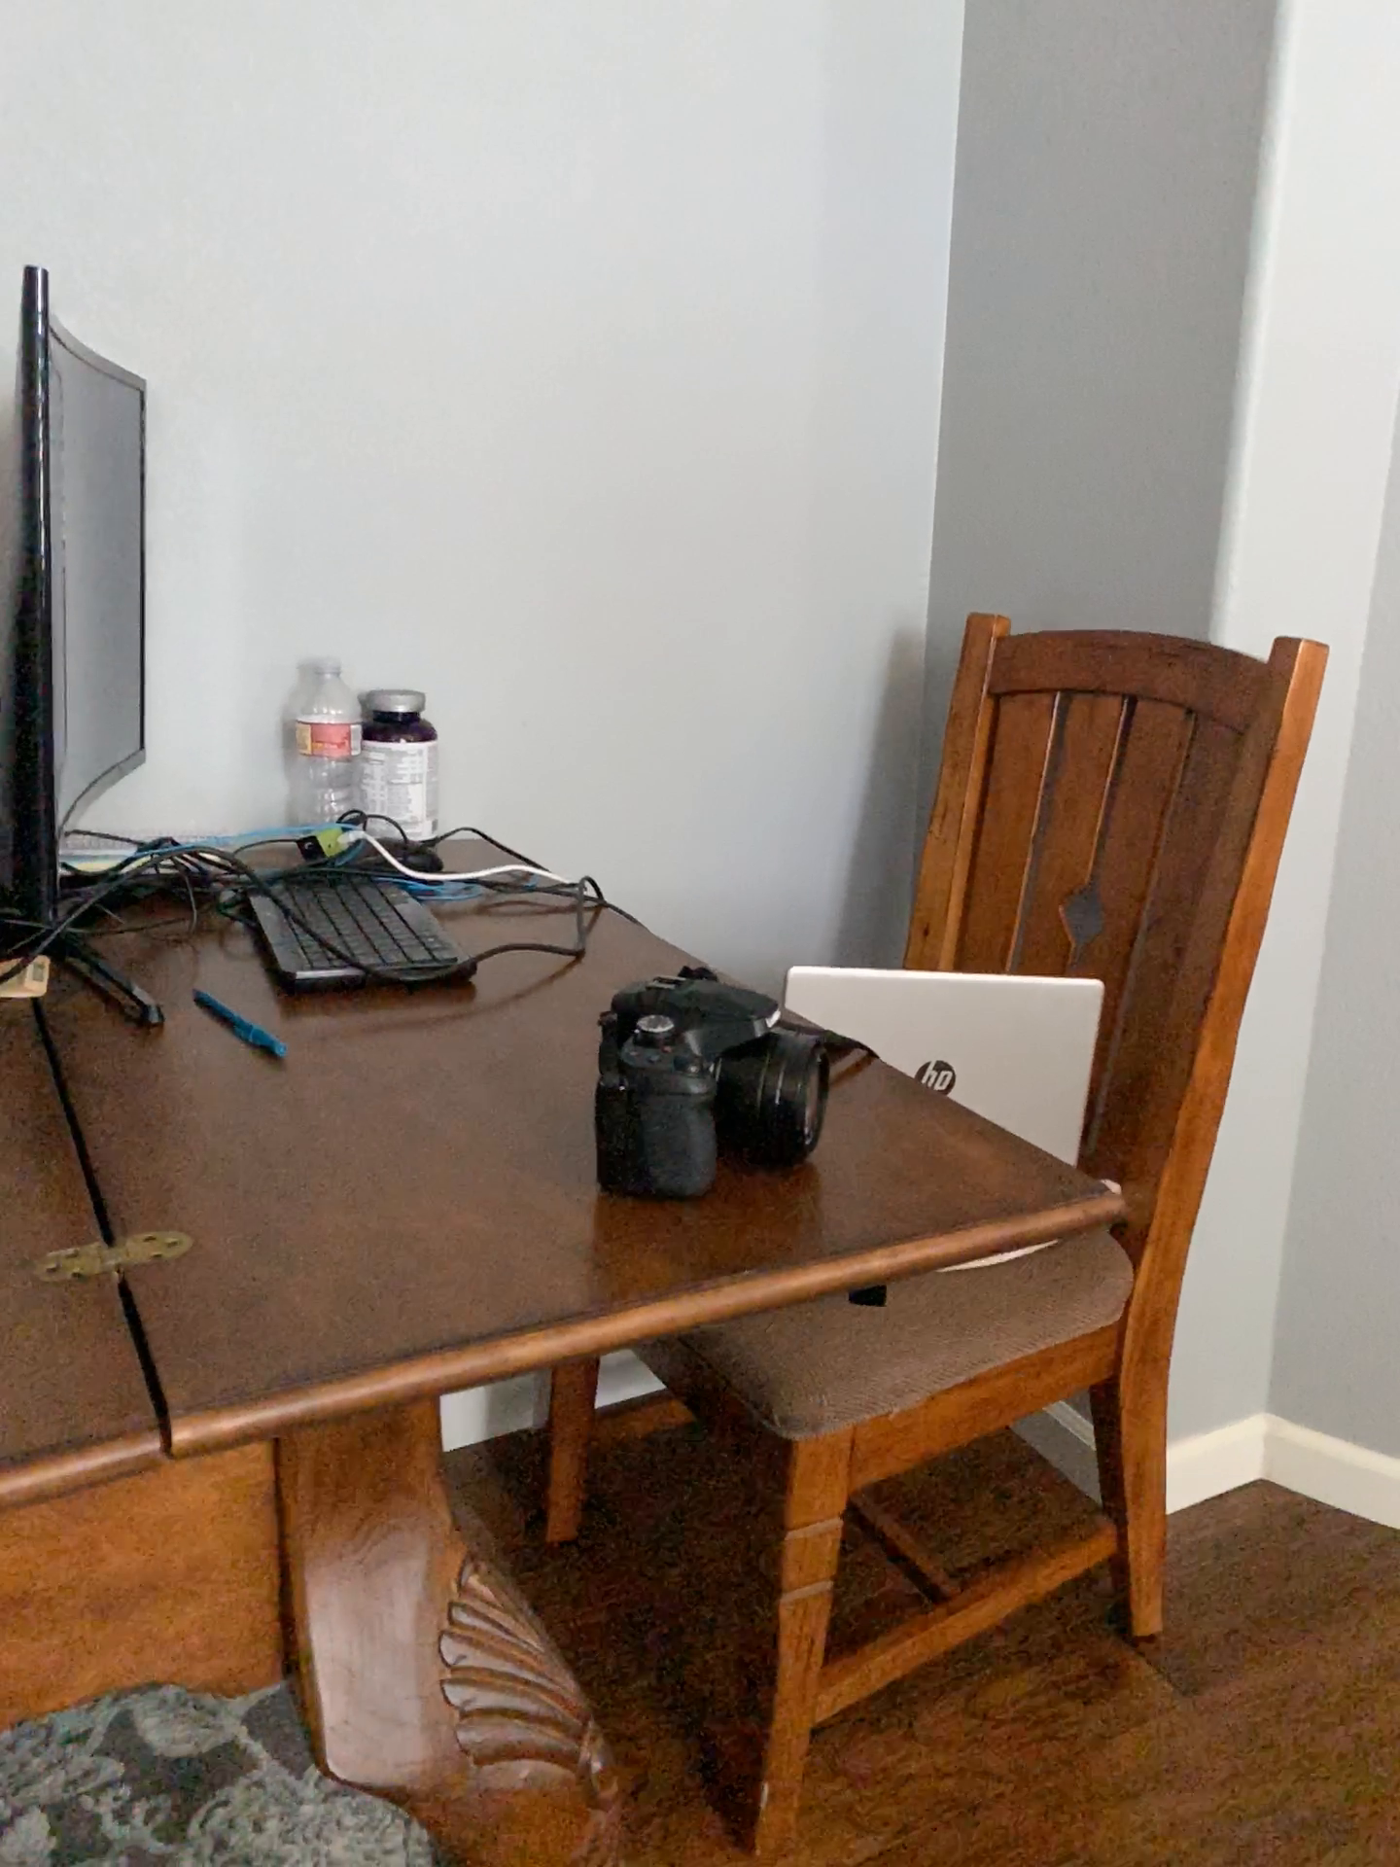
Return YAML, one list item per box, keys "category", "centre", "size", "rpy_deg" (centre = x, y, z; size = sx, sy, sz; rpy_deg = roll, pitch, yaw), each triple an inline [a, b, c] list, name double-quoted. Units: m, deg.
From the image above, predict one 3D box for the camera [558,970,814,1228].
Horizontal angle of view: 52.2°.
- category: "camera"
  centre: [-0.005, 0.088, 0.810]
  size: [0.110, 0.090, 0.131]
  rpy_deg: [6, 16, 15]
